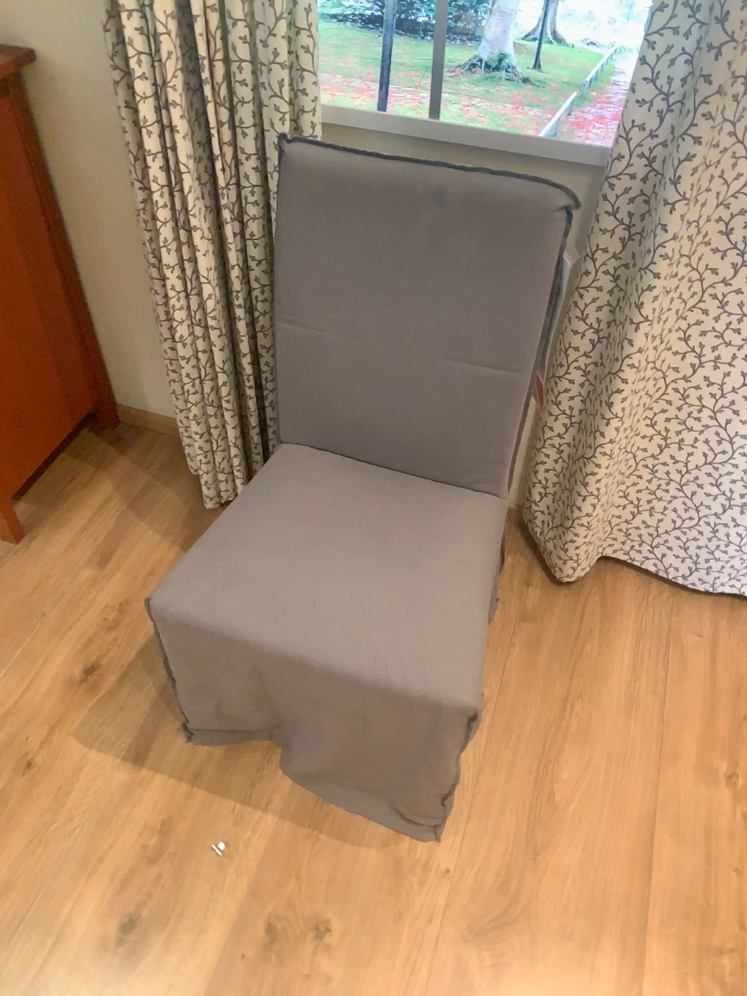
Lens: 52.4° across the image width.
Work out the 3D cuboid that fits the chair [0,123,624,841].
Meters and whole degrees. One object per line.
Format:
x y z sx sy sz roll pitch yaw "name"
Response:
-0.033 0.001 1.221 0.570 0.877 0.592 15 47 12 "chair"
